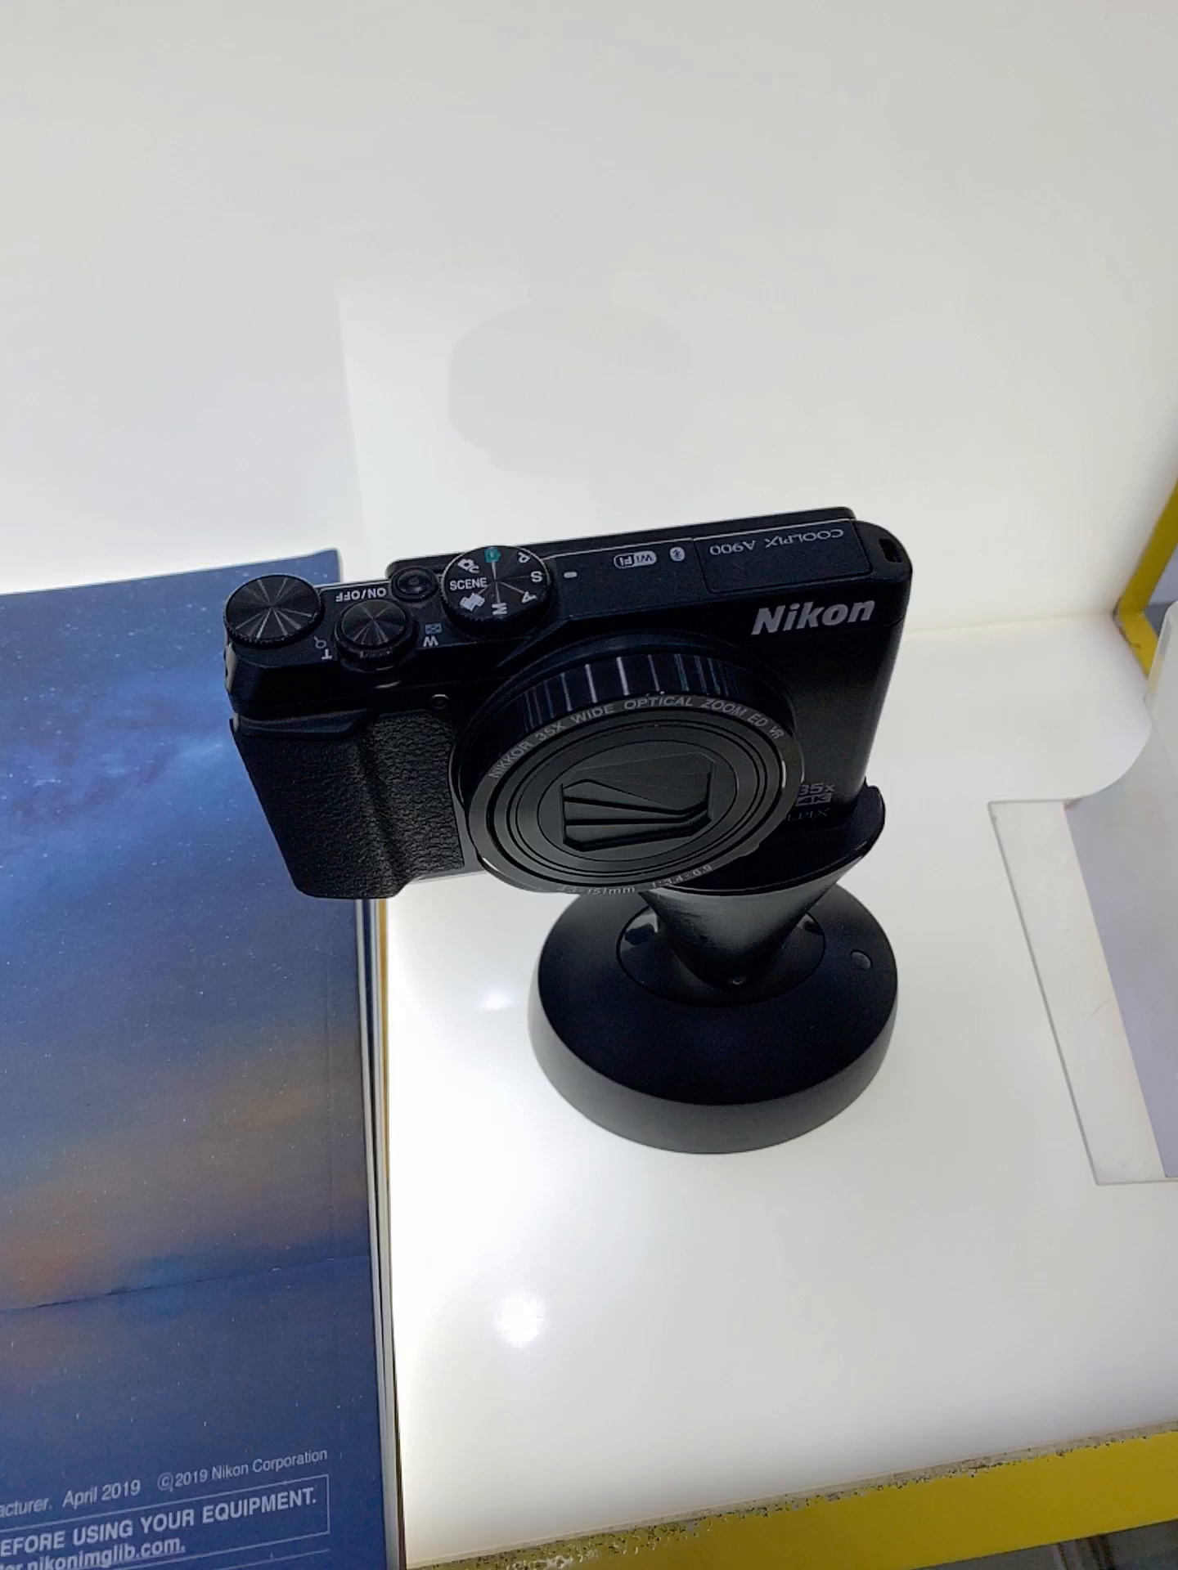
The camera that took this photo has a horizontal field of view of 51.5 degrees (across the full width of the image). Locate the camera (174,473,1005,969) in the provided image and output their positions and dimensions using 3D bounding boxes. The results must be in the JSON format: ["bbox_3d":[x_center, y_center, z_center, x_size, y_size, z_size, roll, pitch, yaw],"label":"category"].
[{"bbox_3d":[-0.002,-0.010,0.209,0.120,0.060,0.040,-8,54,-7],"label":"camera"}]
